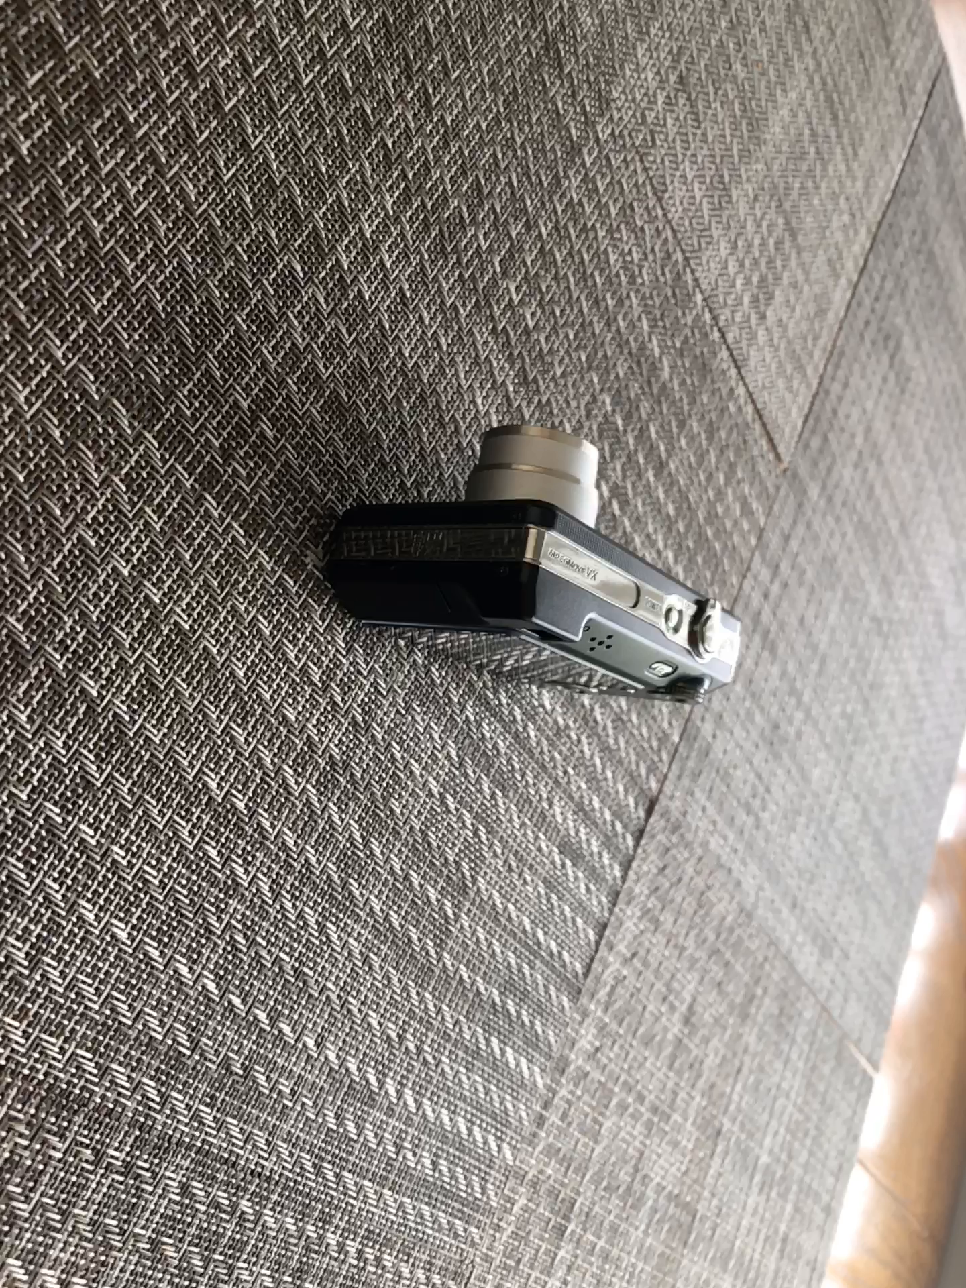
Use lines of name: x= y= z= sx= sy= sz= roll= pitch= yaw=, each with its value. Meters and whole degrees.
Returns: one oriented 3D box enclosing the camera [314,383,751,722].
camera: x=0.017 y=-0.017 z=0.259 sx=0.096 sy=0.052 sz=0.049 roll=23 pitch=76 yaw=-50
